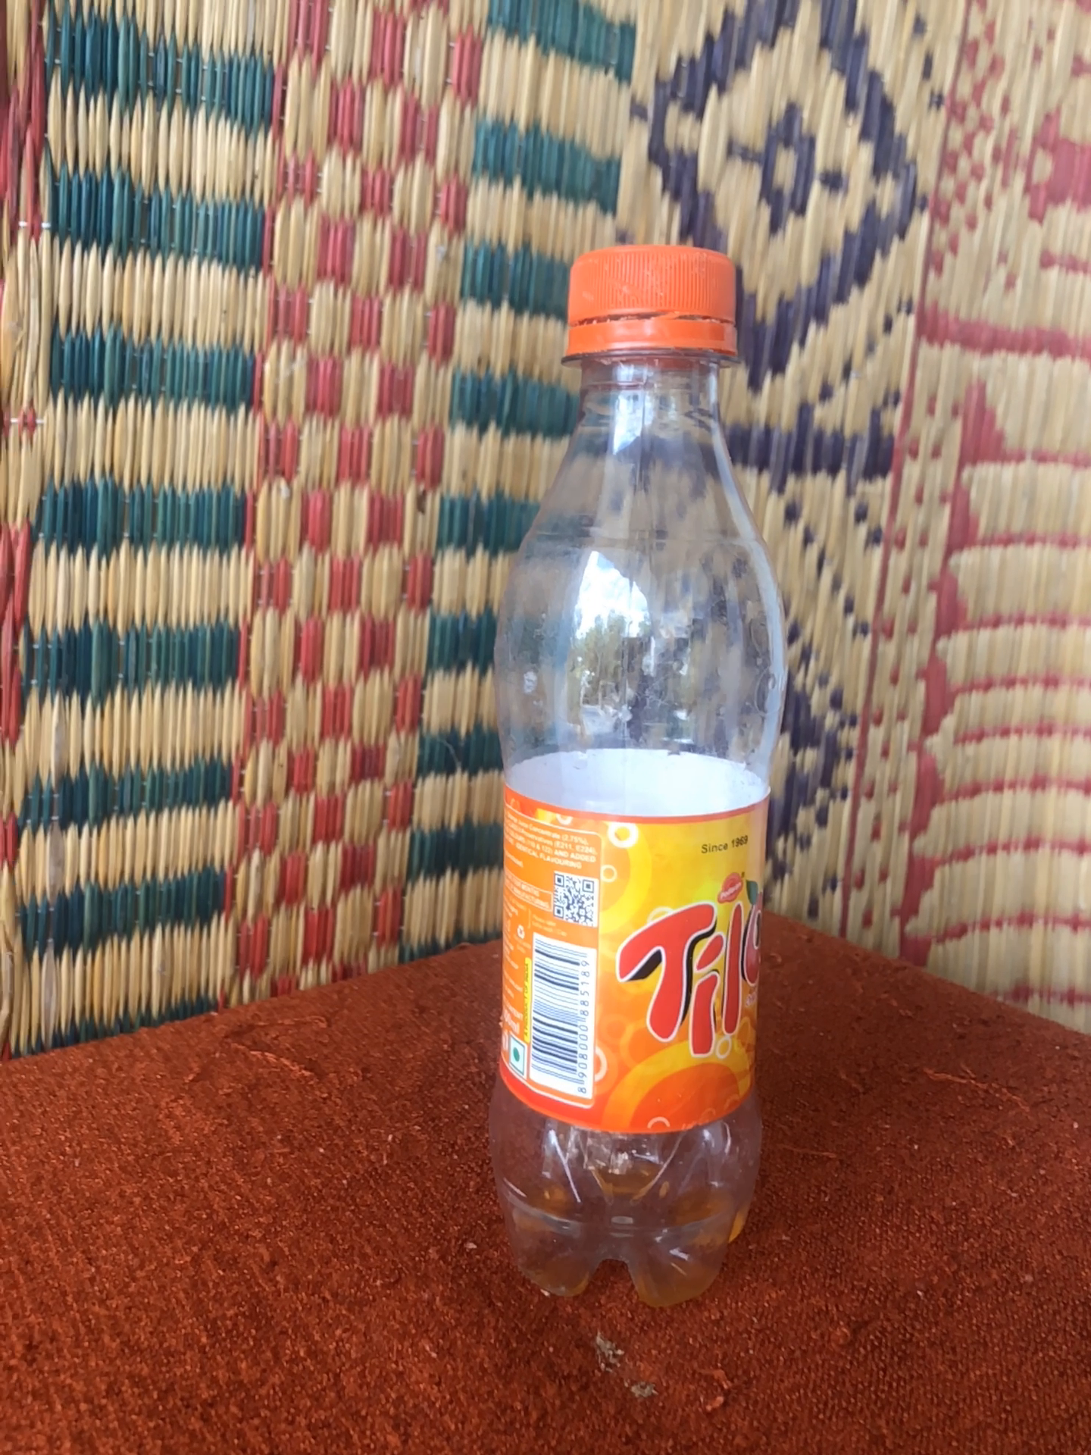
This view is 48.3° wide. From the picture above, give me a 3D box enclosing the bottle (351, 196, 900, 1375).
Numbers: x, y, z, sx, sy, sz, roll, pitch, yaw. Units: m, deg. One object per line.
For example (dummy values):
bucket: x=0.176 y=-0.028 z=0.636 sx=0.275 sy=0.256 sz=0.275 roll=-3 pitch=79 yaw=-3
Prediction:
bottle: x=0.011 y=0.011 z=0.229 sx=0.070 sy=0.189 sz=0.050 roll=-4 pitch=15 yaw=-36
